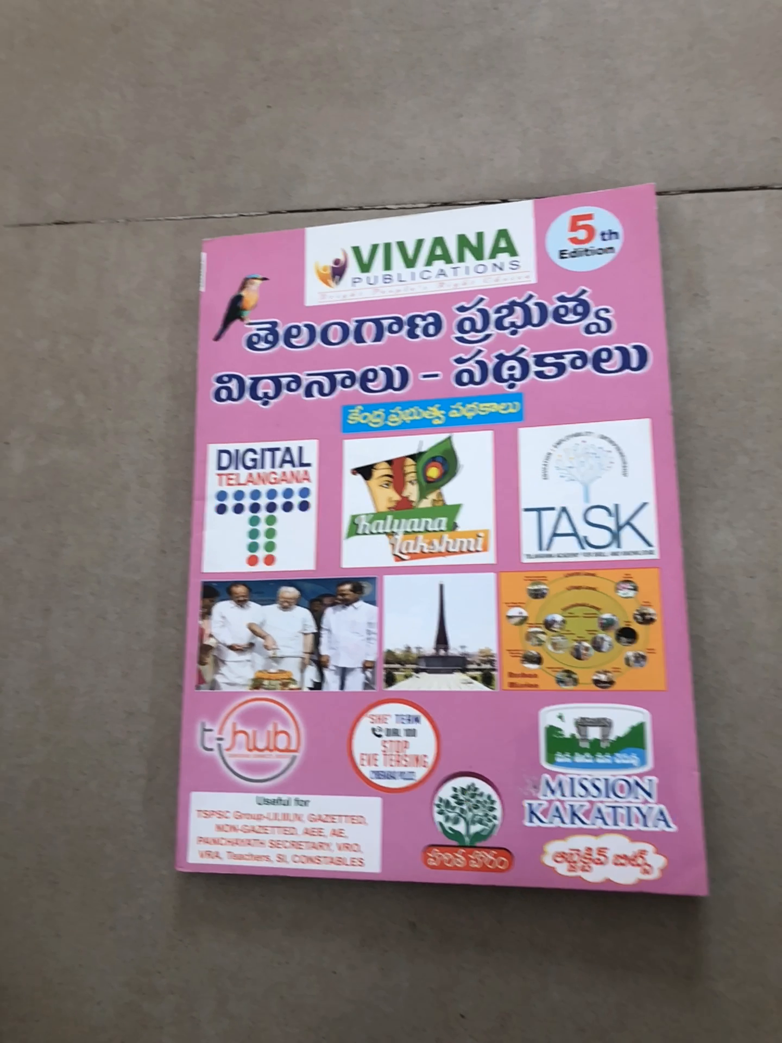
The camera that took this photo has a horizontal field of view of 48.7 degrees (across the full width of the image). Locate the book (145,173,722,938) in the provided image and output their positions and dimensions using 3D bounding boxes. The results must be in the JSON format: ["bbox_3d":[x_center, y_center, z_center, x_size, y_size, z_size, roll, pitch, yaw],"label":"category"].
[{"bbox_3d":[0.013,0.007,0.342,0.200,0.040,0.270,-2,78,13],"label":"book"}]
